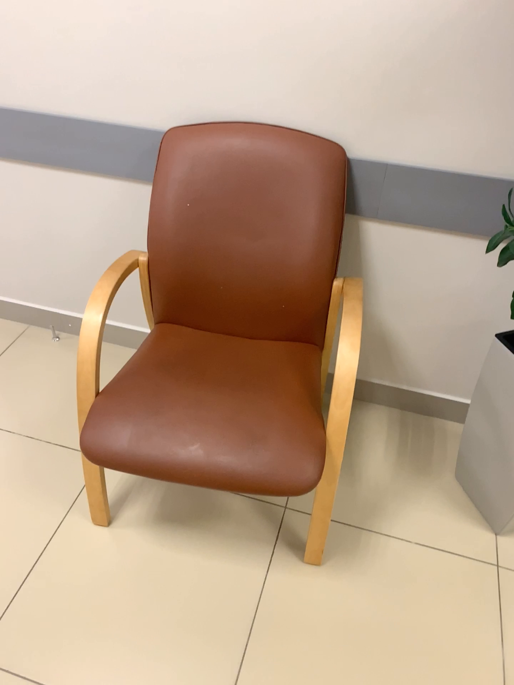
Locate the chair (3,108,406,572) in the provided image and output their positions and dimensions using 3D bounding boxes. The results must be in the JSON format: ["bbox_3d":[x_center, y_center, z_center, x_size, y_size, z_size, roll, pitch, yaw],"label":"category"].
[{"bbox_3d":[-0.060,0.020,1.392,0.670,0.985,0.603,9,41,7],"label":"chair"}]
